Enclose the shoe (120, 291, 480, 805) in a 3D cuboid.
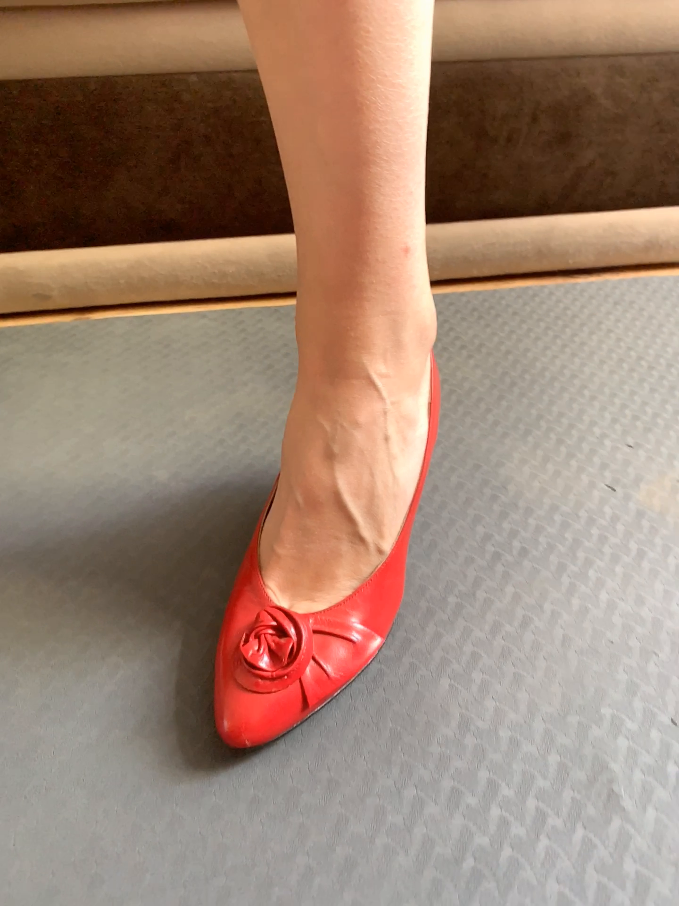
[{"bbox_3d":[0.002,0.024,0.327,0.080,0.109,0.211,11,39,15],"label":"shoe"}]
